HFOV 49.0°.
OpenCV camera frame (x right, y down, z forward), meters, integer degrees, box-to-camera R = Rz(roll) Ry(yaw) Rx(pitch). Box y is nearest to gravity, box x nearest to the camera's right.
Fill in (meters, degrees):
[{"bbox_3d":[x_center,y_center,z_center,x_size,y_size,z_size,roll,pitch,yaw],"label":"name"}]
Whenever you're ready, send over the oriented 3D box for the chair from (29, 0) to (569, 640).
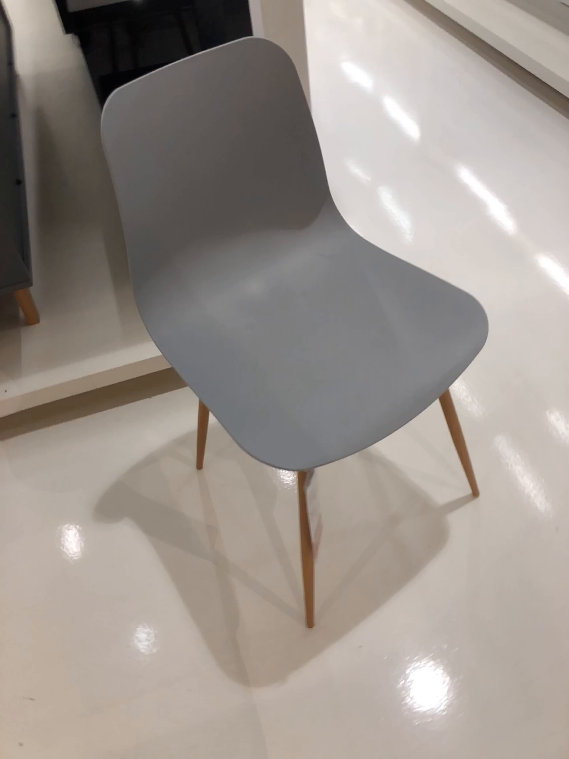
[{"bbox_3d":[0.049,-0.058,1.022,0.471,0.814,0.472,-31,51,-19],"label":"chair"}]
